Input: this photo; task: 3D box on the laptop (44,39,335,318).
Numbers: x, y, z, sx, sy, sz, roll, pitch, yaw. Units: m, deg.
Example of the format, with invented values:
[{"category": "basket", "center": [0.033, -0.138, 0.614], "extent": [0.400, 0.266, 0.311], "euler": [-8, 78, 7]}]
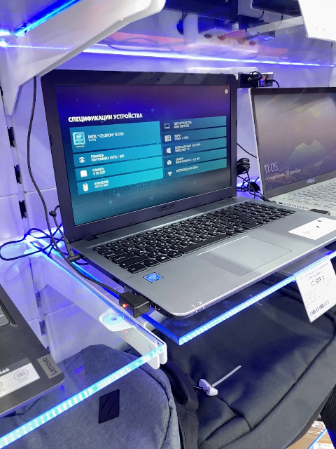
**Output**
[{"category": "laptop", "center": [0.070, -0.098, 0.491], "extent": [0.372, 0.232, 0.263], "euler": [-16, 23, -36]}]
